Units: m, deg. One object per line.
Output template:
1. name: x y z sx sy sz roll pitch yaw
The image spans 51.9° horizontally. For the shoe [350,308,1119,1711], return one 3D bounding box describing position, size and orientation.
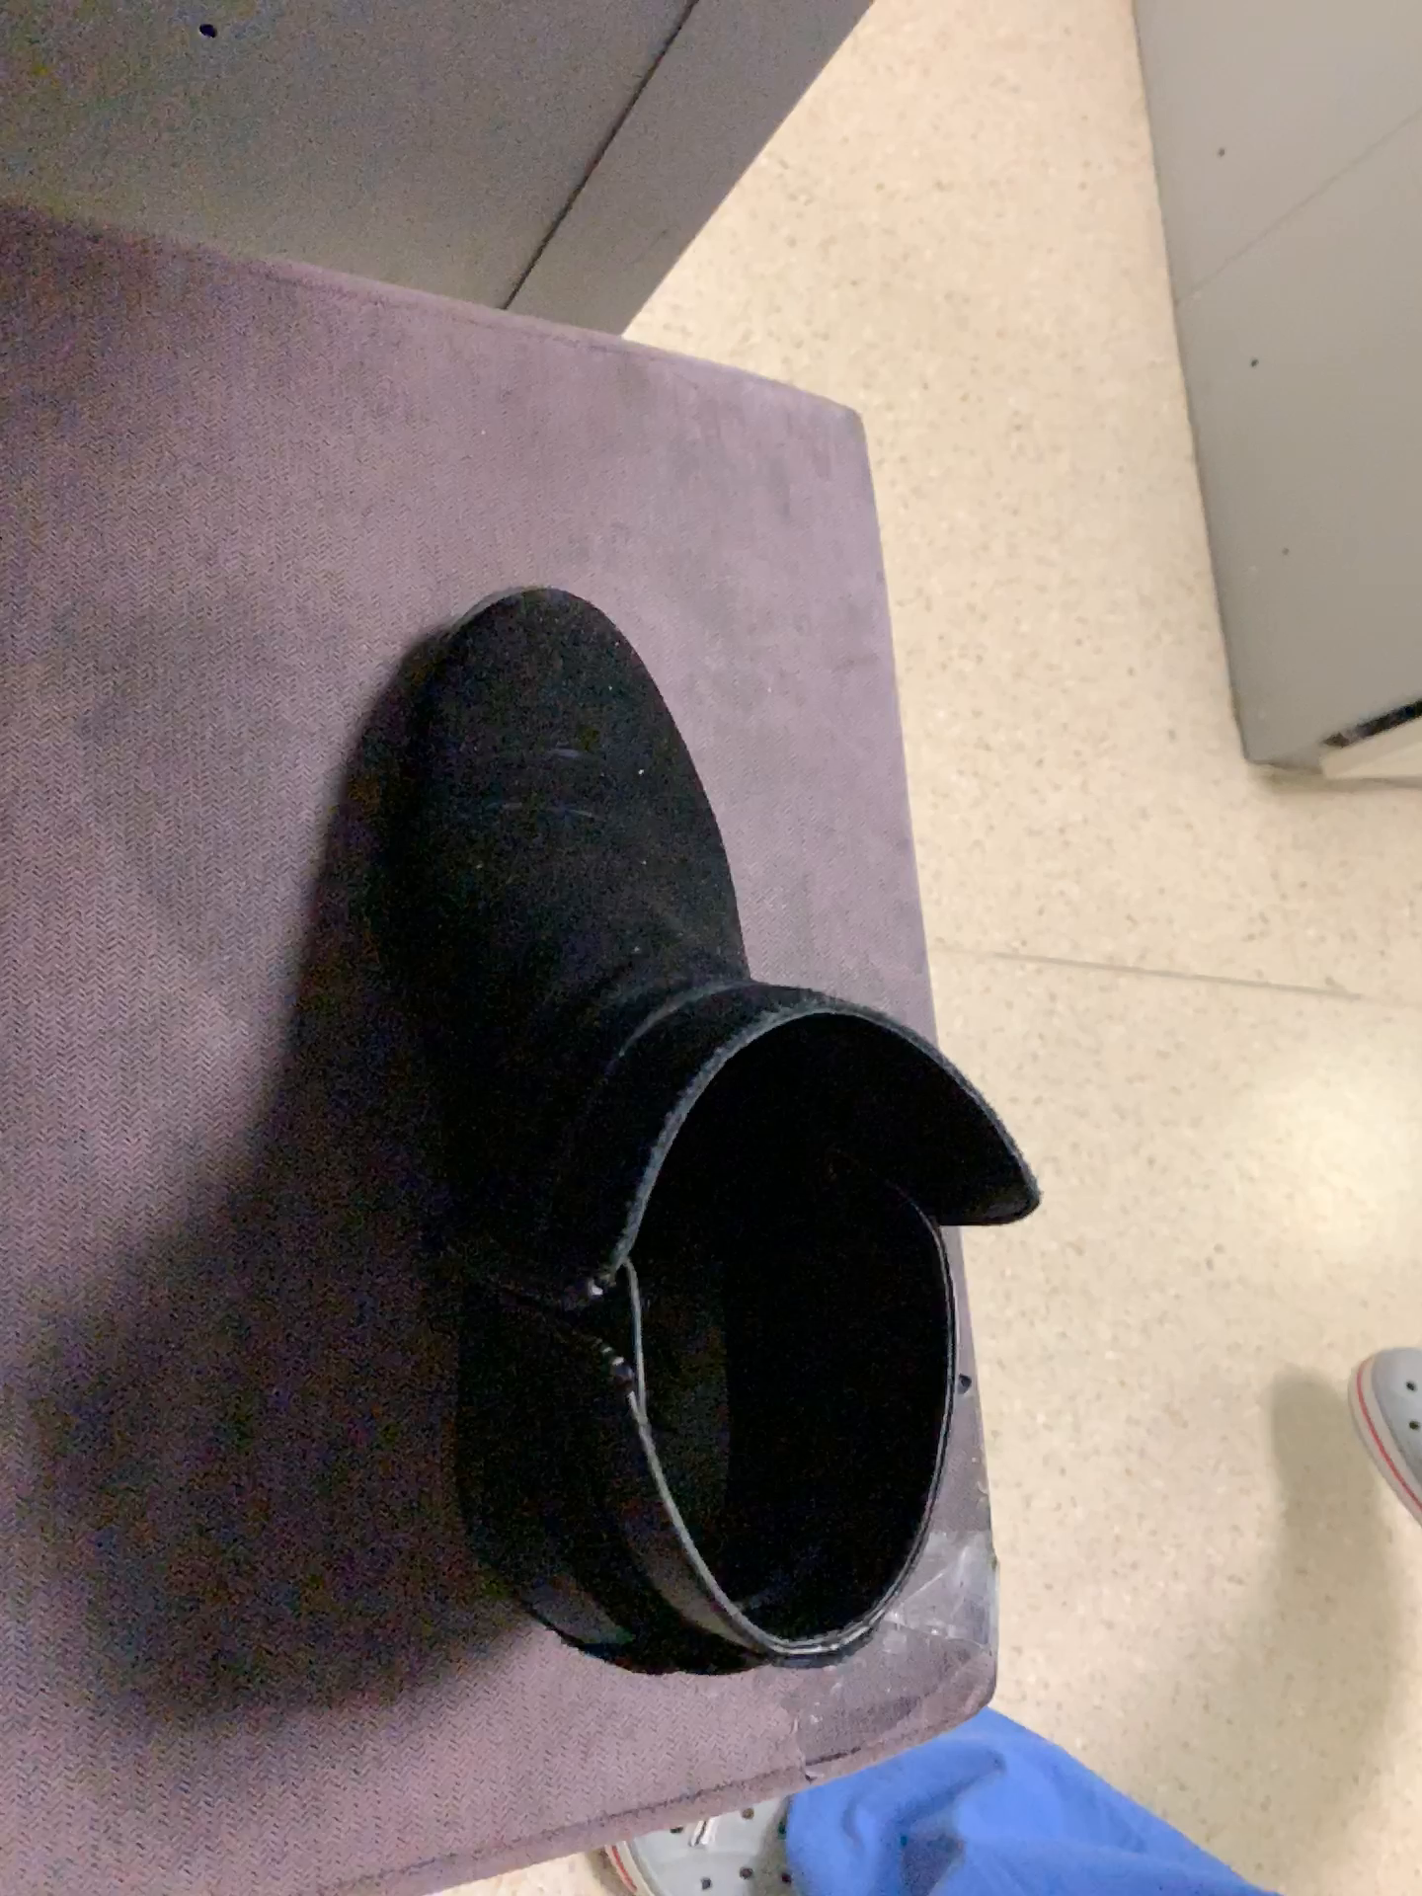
1. shoe: -0.011 0.015 0.323 0.100 0.137 0.235 4 75 -29
